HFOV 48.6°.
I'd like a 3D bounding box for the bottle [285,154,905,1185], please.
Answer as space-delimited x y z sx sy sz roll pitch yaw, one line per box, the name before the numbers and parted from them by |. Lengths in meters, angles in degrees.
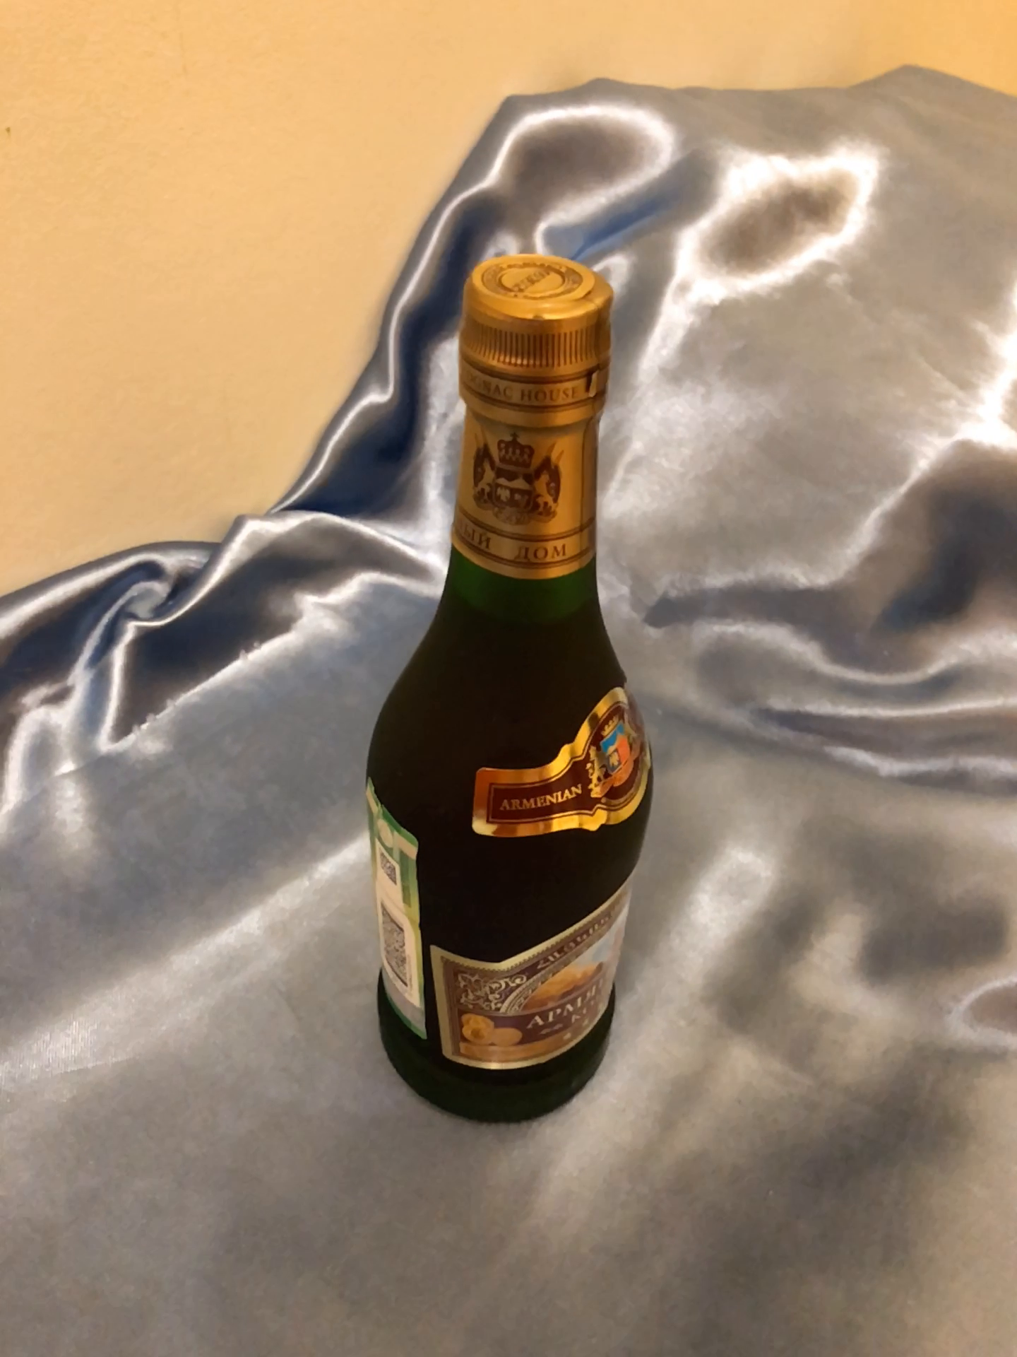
bottle | 0.008 0.021 0.275 0.074 0.247 0.080 3 45 -3
